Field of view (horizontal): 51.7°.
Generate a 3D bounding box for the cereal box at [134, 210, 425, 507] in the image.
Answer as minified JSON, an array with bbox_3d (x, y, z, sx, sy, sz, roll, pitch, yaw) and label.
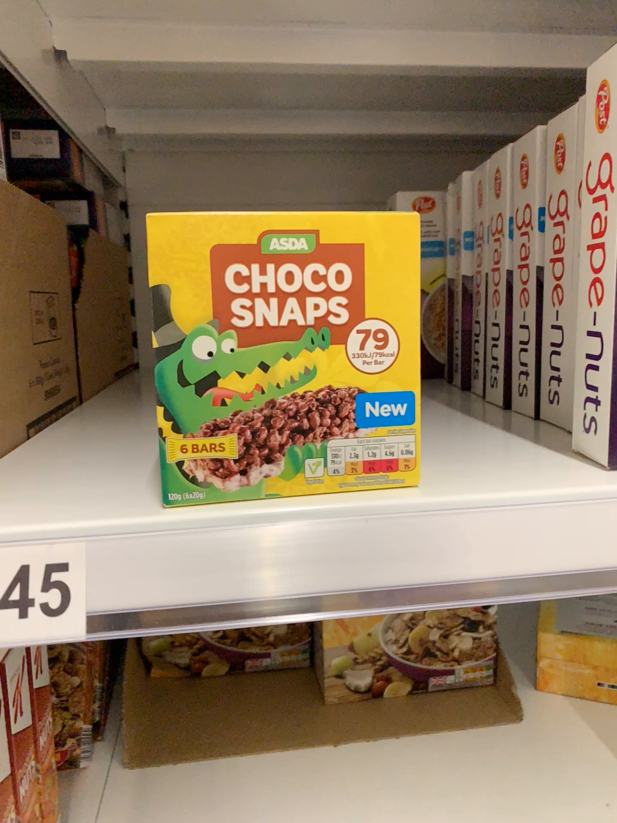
[{"bbox_3d":[-0.015,-0.030,0.324,0.130,0.130,0.070,-3,9,-11],"label":"cereal box"}]
